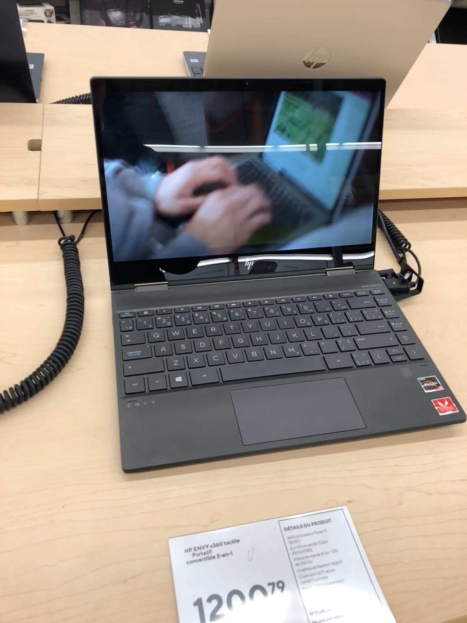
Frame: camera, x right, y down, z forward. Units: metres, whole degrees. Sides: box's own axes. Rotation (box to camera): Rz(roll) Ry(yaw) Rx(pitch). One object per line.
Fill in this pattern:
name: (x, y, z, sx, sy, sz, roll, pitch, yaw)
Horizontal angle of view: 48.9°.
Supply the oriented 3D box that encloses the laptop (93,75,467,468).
laptop: (0.041, -0.059, 0.463, 0.294, 0.182, 0.289, -5, 46, -14)
